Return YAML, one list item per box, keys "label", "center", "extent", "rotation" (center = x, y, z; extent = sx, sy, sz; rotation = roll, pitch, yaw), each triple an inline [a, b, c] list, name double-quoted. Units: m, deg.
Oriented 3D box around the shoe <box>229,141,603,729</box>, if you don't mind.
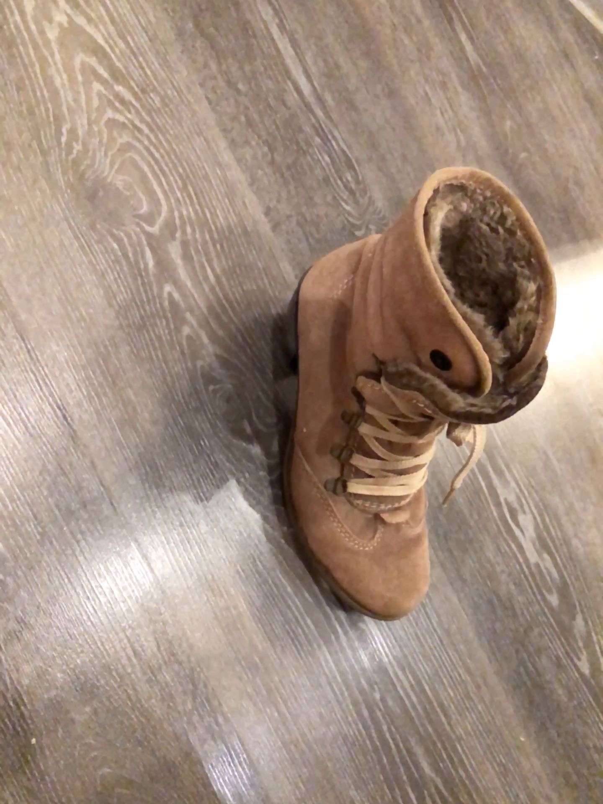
- label: "shoe"
  center: [0.063, 0.018, 0.372]
  extent: [0.100, 0.189, 0.240]
  rotation: [-10, 83, -27]
